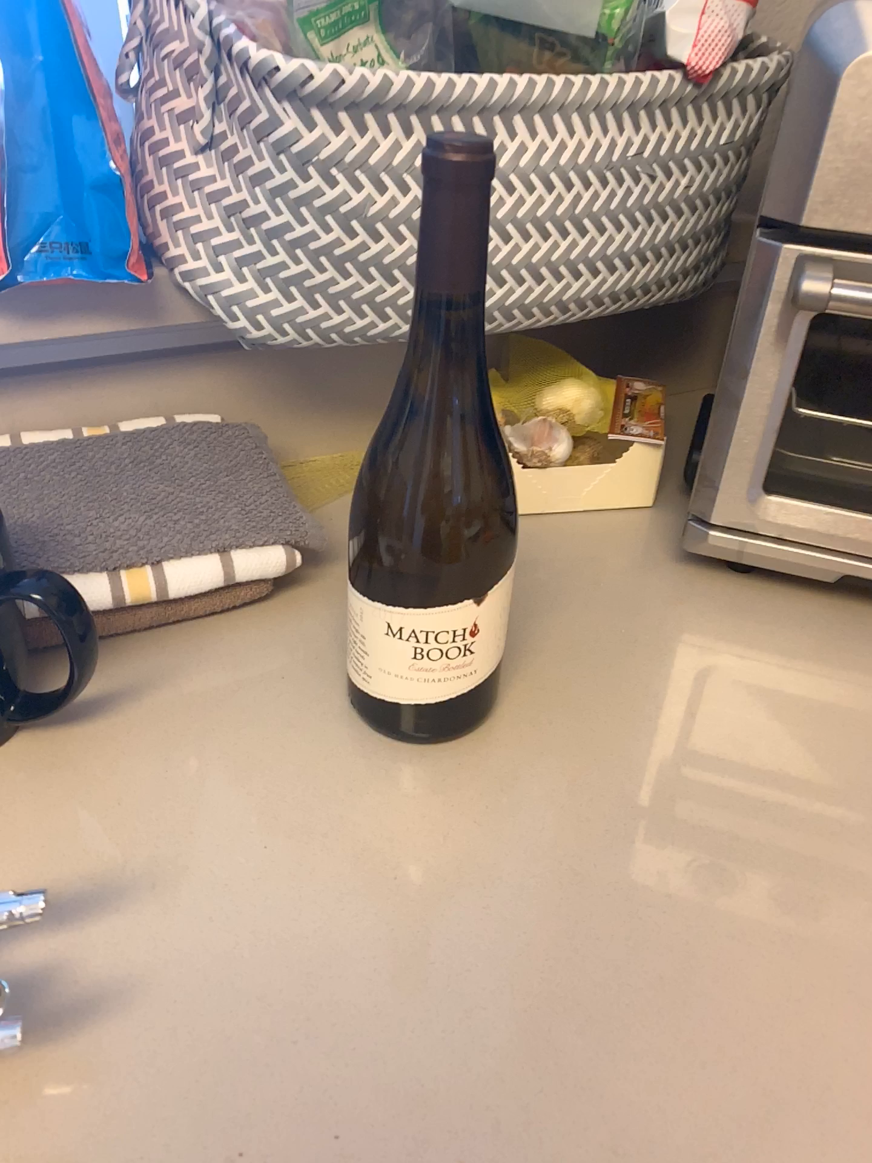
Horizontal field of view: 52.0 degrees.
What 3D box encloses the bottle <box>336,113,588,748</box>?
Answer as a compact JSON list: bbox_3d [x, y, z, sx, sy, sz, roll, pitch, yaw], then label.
[{"bbox_3d":[-0.002,-0.060,0.440,0.090,0.288,0.101,-1,34,-6],"label":"bottle"}]
